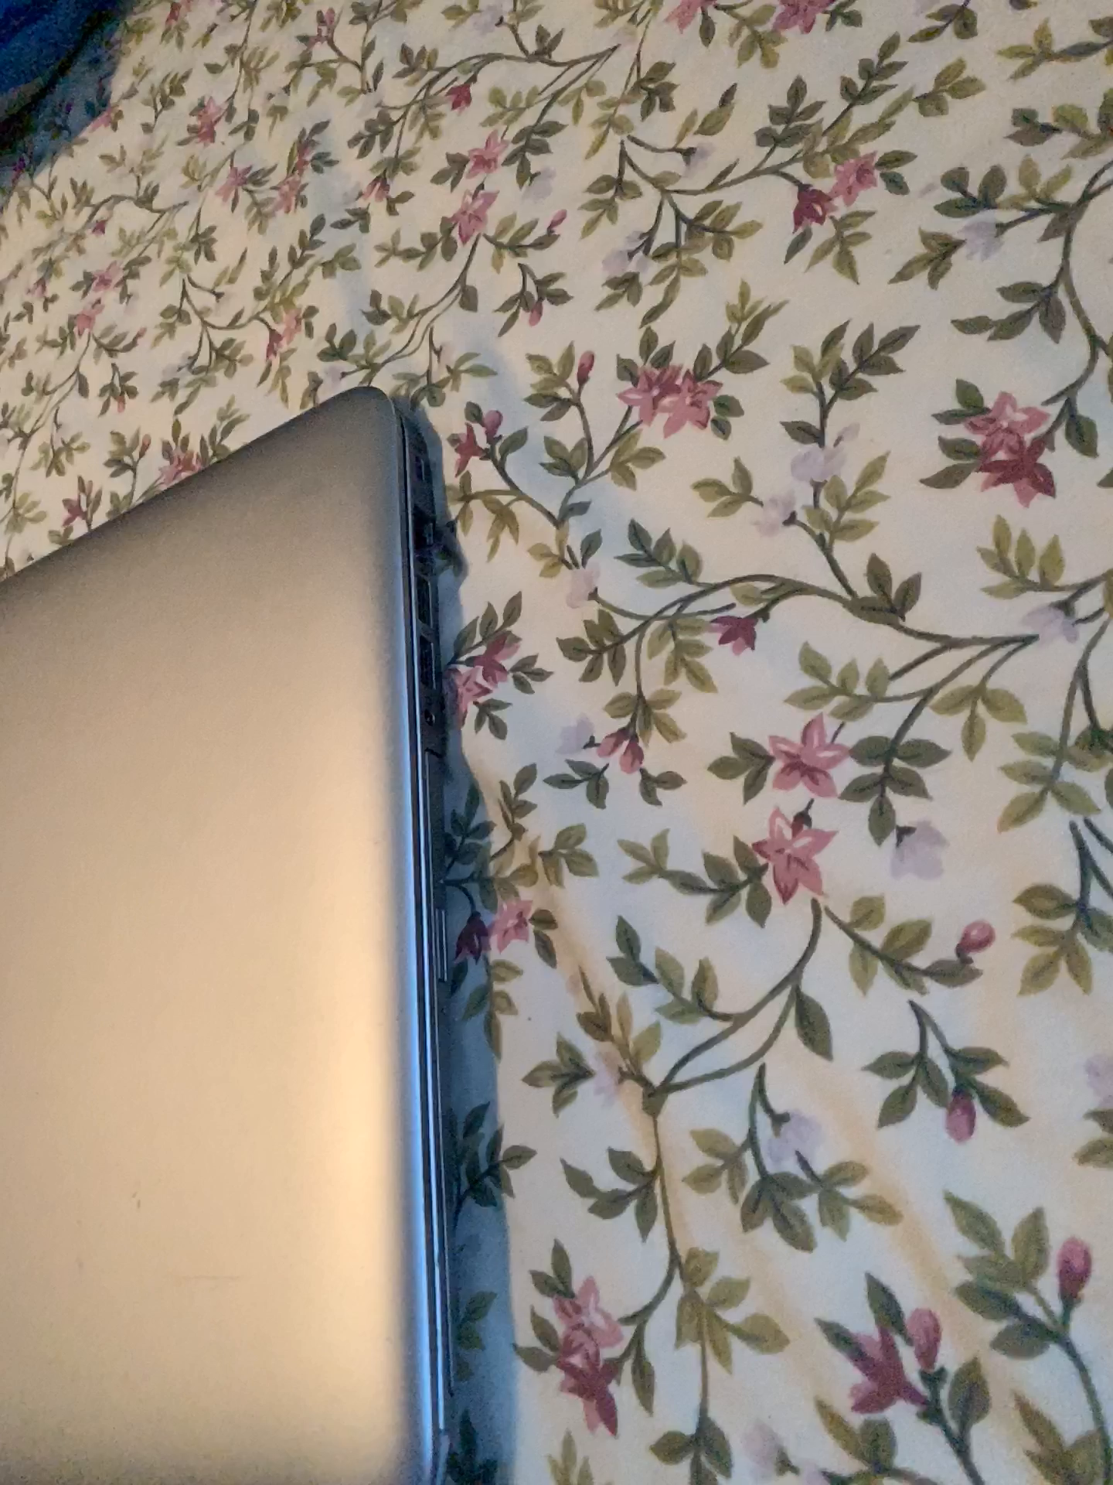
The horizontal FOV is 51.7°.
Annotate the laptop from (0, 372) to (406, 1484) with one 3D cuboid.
[{"bbox_3d":[-0.177,0.065,0.305,0.337,0.010,0.229,-18,63,28],"label":"laptop"}]
